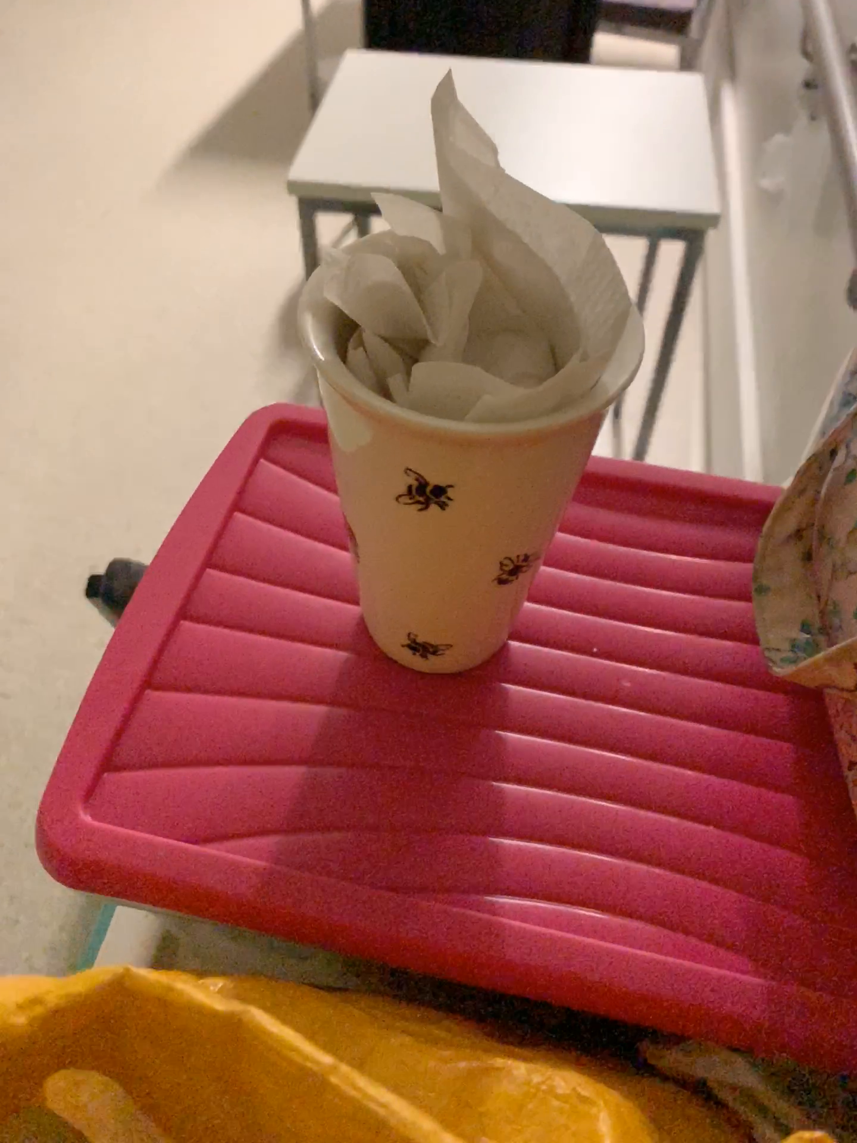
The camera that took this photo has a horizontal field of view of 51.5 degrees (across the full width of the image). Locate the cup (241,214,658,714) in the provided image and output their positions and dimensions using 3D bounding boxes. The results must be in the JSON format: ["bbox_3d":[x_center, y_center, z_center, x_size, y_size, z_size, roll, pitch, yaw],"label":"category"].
[{"bbox_3d":[0.007,-0.030,0.279,0.098,0.112,0.091,2,51,-3],"label":"cup"}]
